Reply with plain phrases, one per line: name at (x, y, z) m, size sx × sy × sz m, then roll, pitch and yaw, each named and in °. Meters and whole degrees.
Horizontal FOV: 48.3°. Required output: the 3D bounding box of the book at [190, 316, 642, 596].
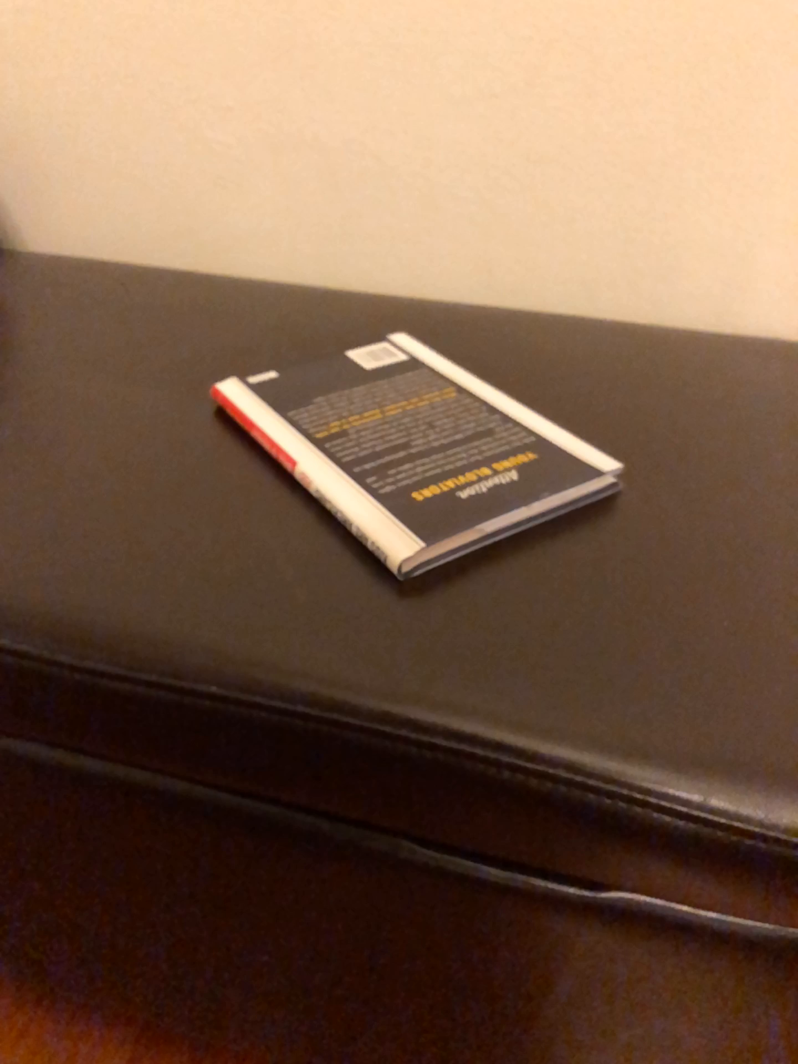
book at (-0.001, -0.062, 0.524) m, size 0.160 × 0.020 × 0.231 m, roll -22°, pitch 42°, yaw -27°
